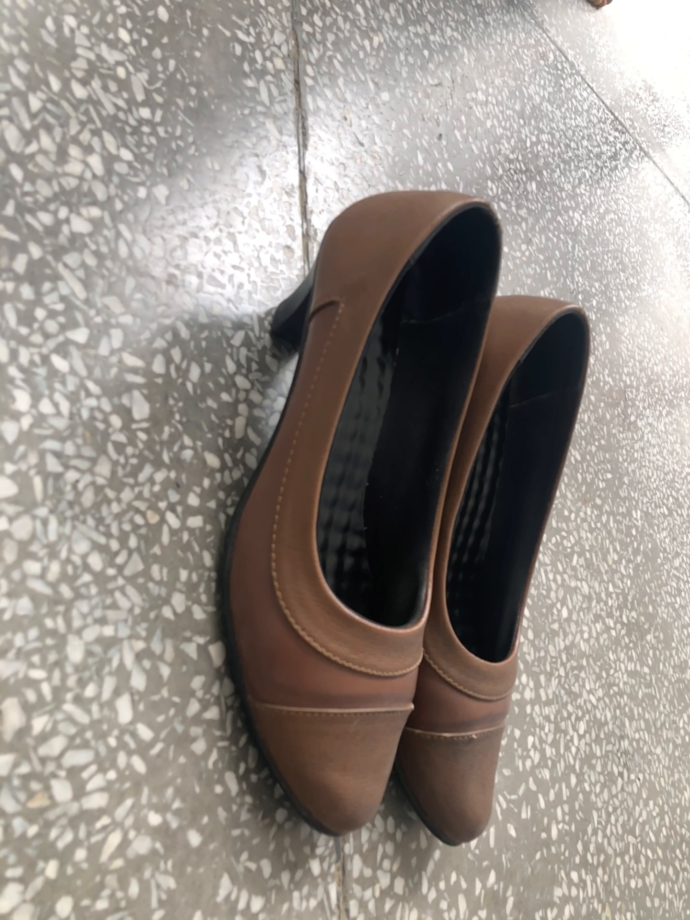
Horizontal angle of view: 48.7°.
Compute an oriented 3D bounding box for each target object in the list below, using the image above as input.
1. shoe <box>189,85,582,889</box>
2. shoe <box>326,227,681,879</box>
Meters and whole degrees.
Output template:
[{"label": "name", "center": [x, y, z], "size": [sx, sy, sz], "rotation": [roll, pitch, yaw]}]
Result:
[{"label": "shoe", "center": [0.008, 0.009, 0.288], "size": [0.090, 0.096, 0.244], "rotation": [14, 67, -47]}, {"label": "shoe", "center": [0.066, 0.038, 0.344], "size": [0.093, 0.096, 0.240], "rotation": [12, 68, -48]}]
